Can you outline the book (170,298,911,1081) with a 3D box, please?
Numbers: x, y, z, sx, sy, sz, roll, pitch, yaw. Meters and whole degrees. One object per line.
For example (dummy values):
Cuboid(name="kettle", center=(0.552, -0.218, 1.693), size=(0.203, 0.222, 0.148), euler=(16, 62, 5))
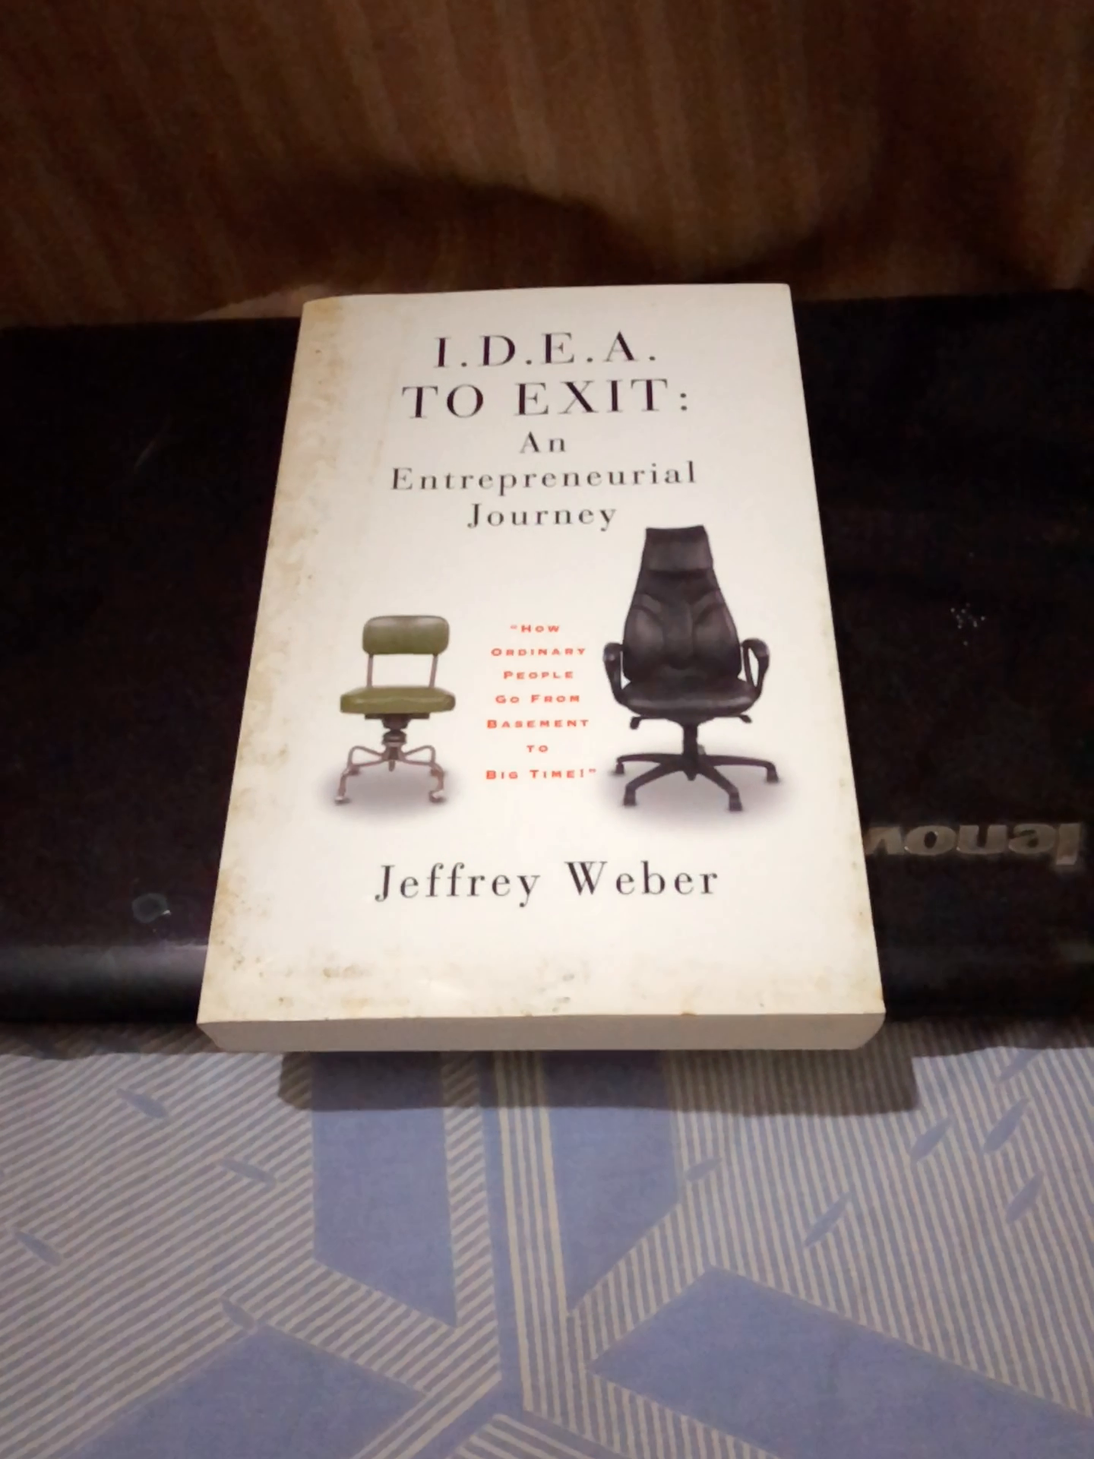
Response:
Cuboid(name="book", center=(0.000, -0.027, 0.340), size=(0.160, 0.030, 0.241), euler=(0, 58, 3))
